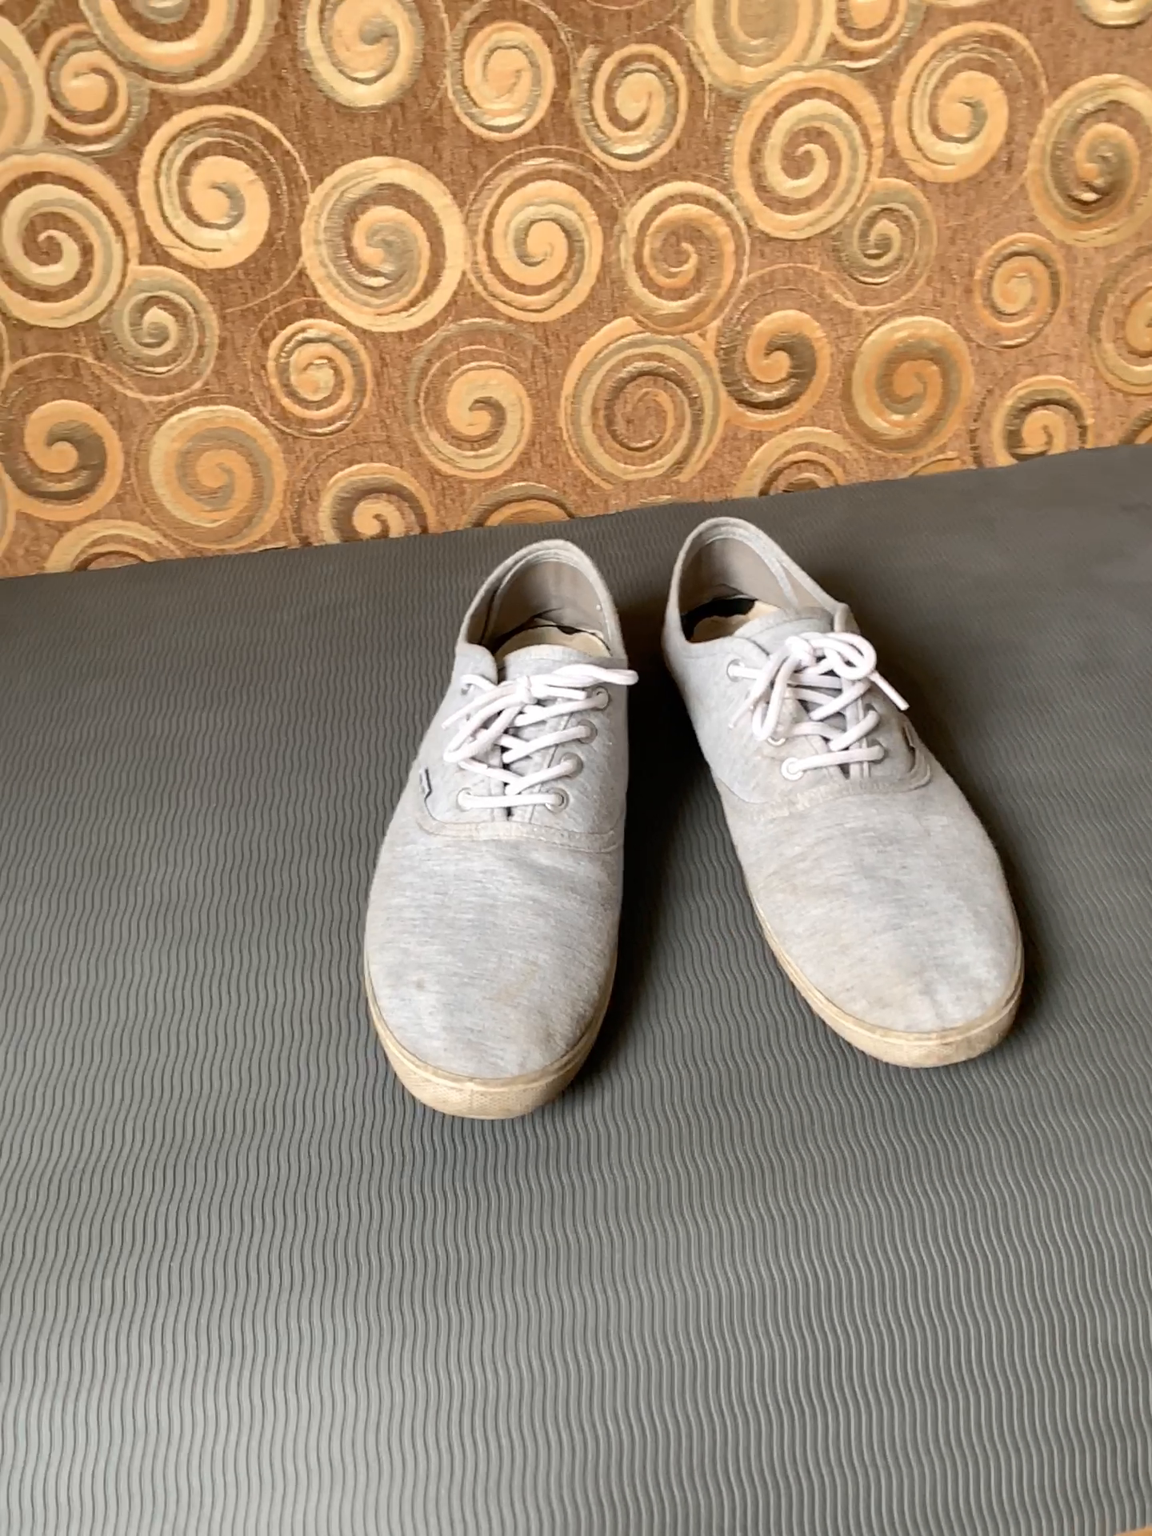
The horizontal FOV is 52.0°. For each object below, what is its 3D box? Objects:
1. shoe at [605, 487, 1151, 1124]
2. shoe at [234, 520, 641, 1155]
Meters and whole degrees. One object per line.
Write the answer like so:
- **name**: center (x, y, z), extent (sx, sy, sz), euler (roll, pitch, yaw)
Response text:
- **shoe**: center (0.101, -0.003, 0.484), extent (0.110, 0.080, 0.261), euler (-12, 46, -9)
- **shoe**: center (-0.036, 0.010, 0.473), extent (0.110, 0.080, 0.261), euler (2, 46, 5)
